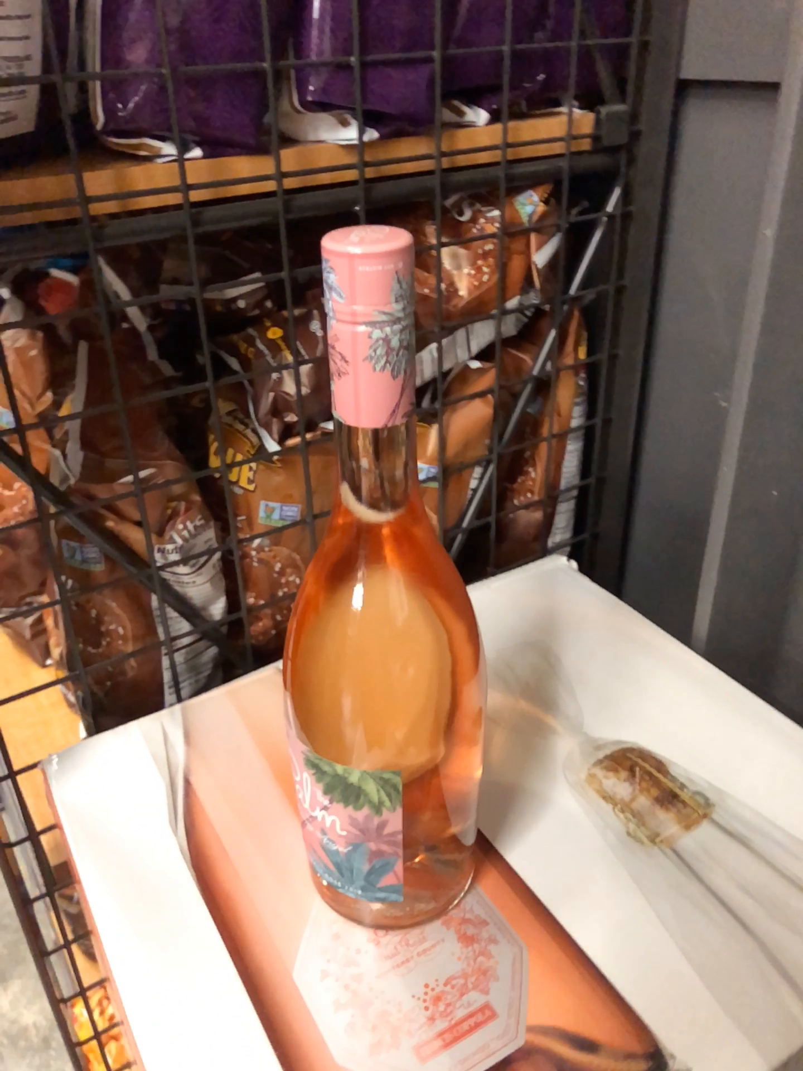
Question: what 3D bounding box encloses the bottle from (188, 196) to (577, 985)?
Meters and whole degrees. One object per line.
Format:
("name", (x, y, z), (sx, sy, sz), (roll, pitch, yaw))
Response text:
("bottle", (-0.005, 0.029, 0.346), (0.090, 0.285, 0.087), (-1, 29, 1))
